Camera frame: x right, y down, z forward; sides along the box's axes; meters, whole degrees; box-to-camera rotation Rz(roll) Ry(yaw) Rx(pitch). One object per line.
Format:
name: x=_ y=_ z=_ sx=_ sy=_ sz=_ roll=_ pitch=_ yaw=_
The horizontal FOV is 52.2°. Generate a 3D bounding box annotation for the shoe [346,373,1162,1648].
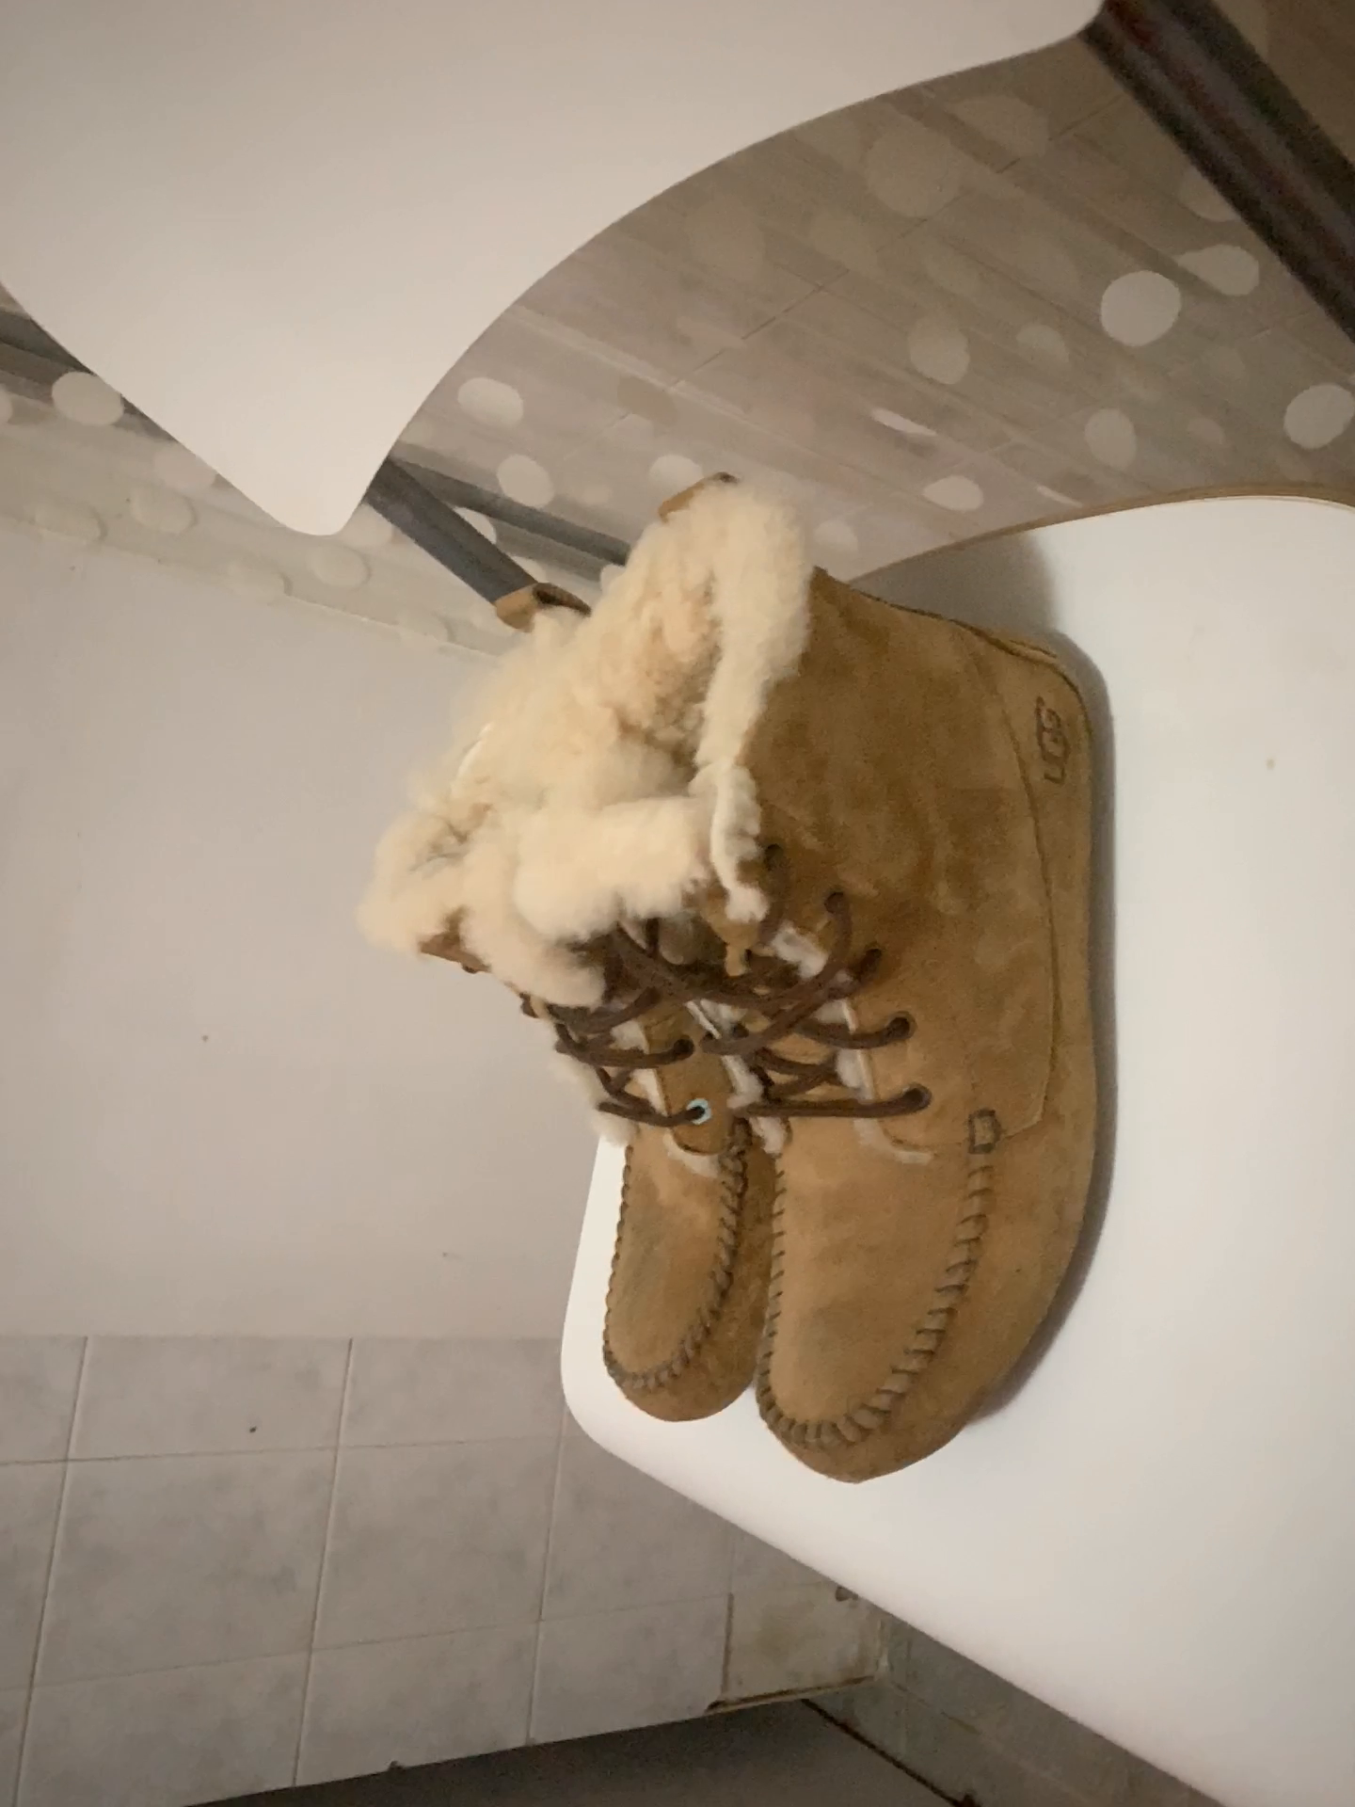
shoe: x=0.025 y=0.030 z=0.360 sx=0.114 sy=0.156 sz=0.251 roll=-10 pitch=72 yaw=55

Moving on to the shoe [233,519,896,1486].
shoe: x=-0.032 y=0.036 z=0.443 sx=0.107 sy=0.155 sz=0.251 roll=-10 pitch=72 yaw=56
